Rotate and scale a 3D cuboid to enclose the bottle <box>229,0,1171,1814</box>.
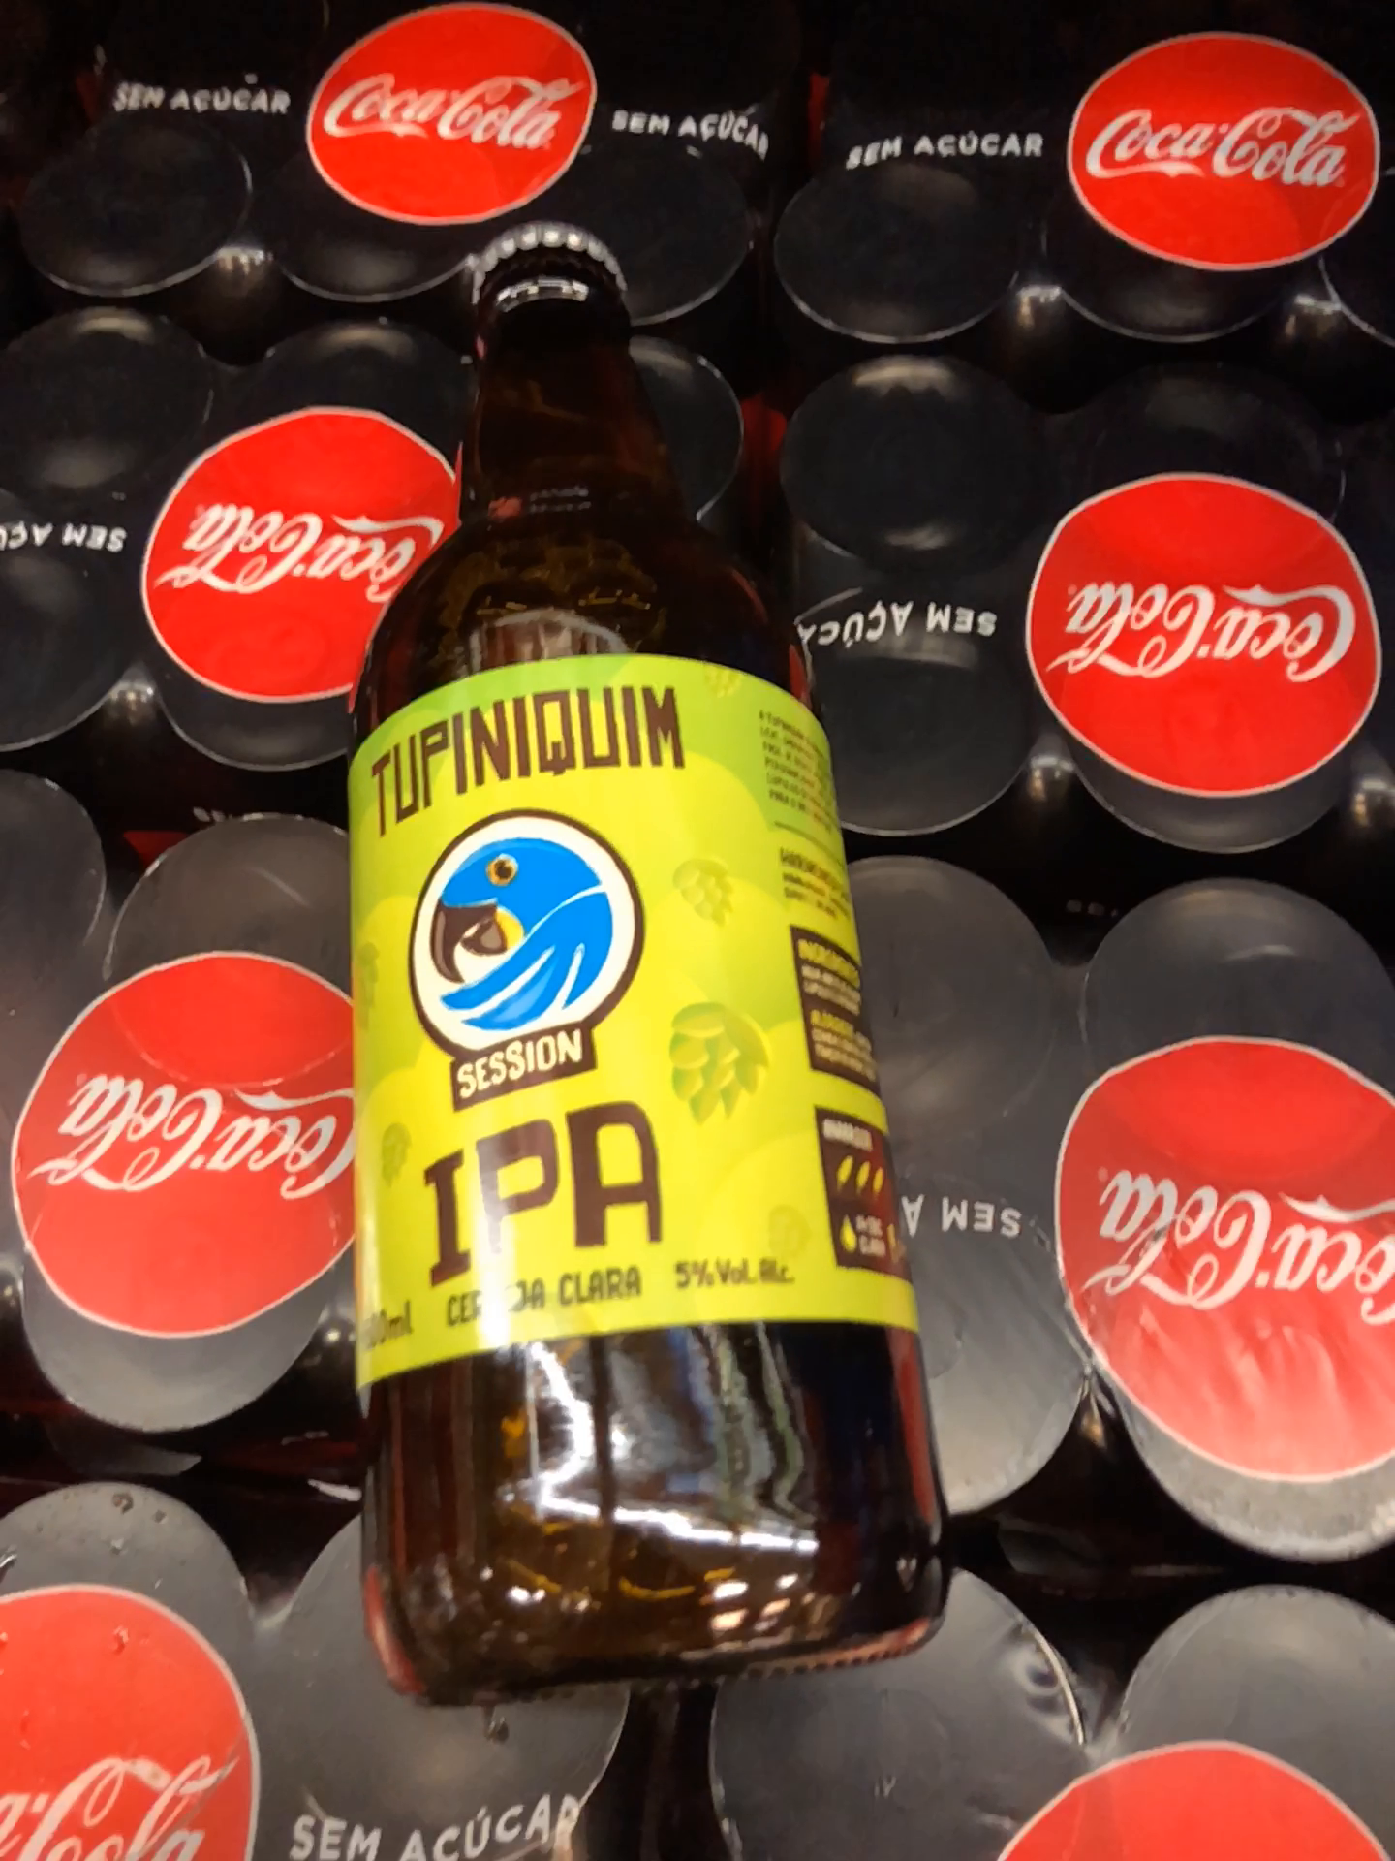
[{"bbox_3d":[-0.012,-0.027,0.232,0.090,0.070,0.261,-8,66,1],"label":"bottle"}]
